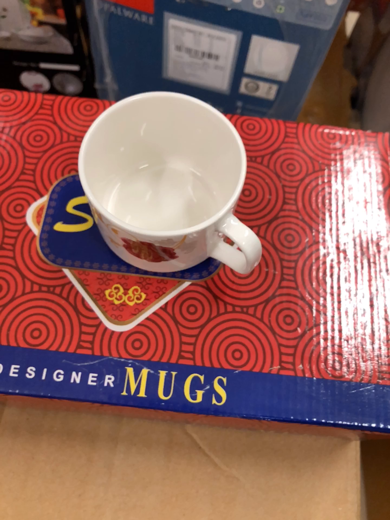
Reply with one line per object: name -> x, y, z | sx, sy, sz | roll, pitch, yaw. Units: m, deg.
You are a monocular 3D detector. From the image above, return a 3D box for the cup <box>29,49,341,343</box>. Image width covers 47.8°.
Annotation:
cup -> -0.004, -0.030, 0.203 | 0.100, 0.050, 0.080 | 38, 69, 11
